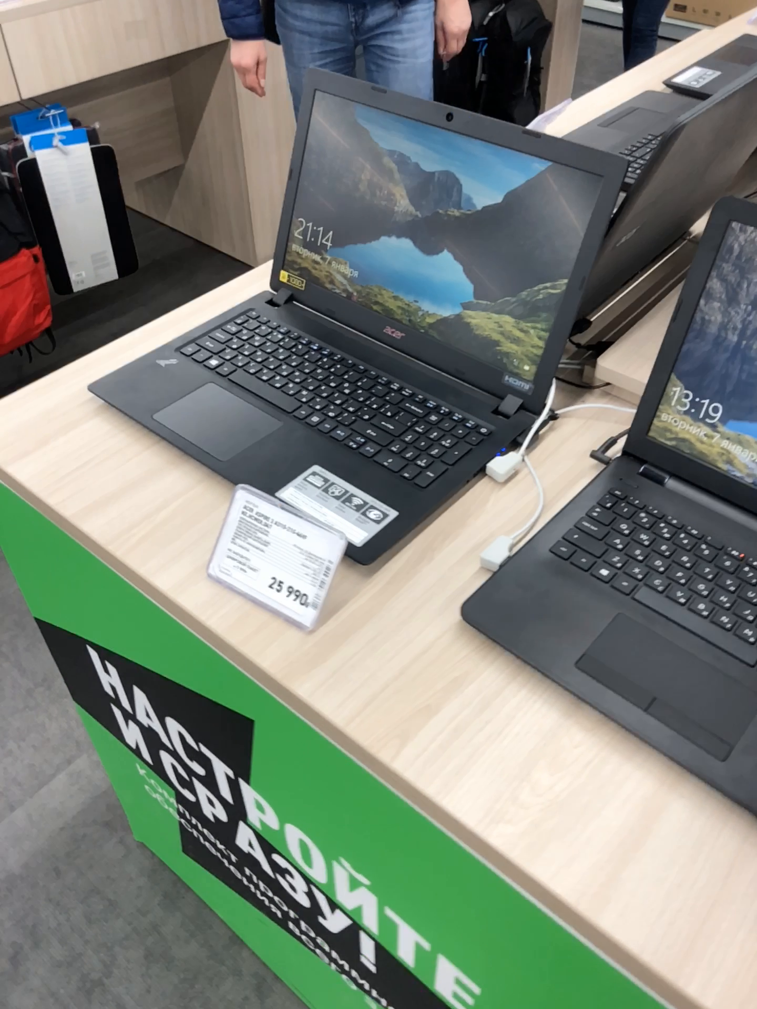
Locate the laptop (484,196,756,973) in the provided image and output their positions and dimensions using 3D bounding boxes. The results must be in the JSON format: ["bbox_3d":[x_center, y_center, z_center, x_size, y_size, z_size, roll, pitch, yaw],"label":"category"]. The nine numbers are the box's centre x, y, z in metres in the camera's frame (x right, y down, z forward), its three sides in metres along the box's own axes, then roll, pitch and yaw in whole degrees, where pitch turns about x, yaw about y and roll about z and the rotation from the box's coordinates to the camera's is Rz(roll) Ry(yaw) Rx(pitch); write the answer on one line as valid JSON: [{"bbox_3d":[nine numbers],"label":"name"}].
[{"bbox_3d":[0.302,0.009,0.549,0.359,0.220,0.295,31,54,29],"label":"laptop"}]

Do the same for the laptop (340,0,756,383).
[{"bbox_3d":[0.237,-0.404,0.956,0.396,0.250,0.402,29,51,30],"label":"laptop"}]

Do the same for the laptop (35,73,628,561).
[{"bbox_3d":[-0.039,-0.210,0.787,0.375,0.219,0.348,31,52,28],"label":"laptop"}]
